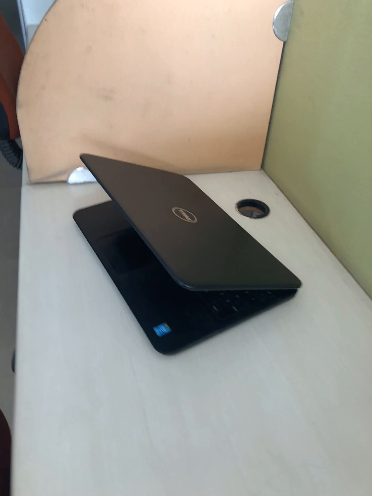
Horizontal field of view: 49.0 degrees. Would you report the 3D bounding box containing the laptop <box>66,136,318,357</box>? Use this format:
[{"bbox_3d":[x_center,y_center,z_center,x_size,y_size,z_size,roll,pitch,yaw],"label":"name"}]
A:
[{"bbox_3d":[-0.015,-0.039,0.682,0.247,0.106,0.368,-20,45,-23],"label":"laptop"}]
